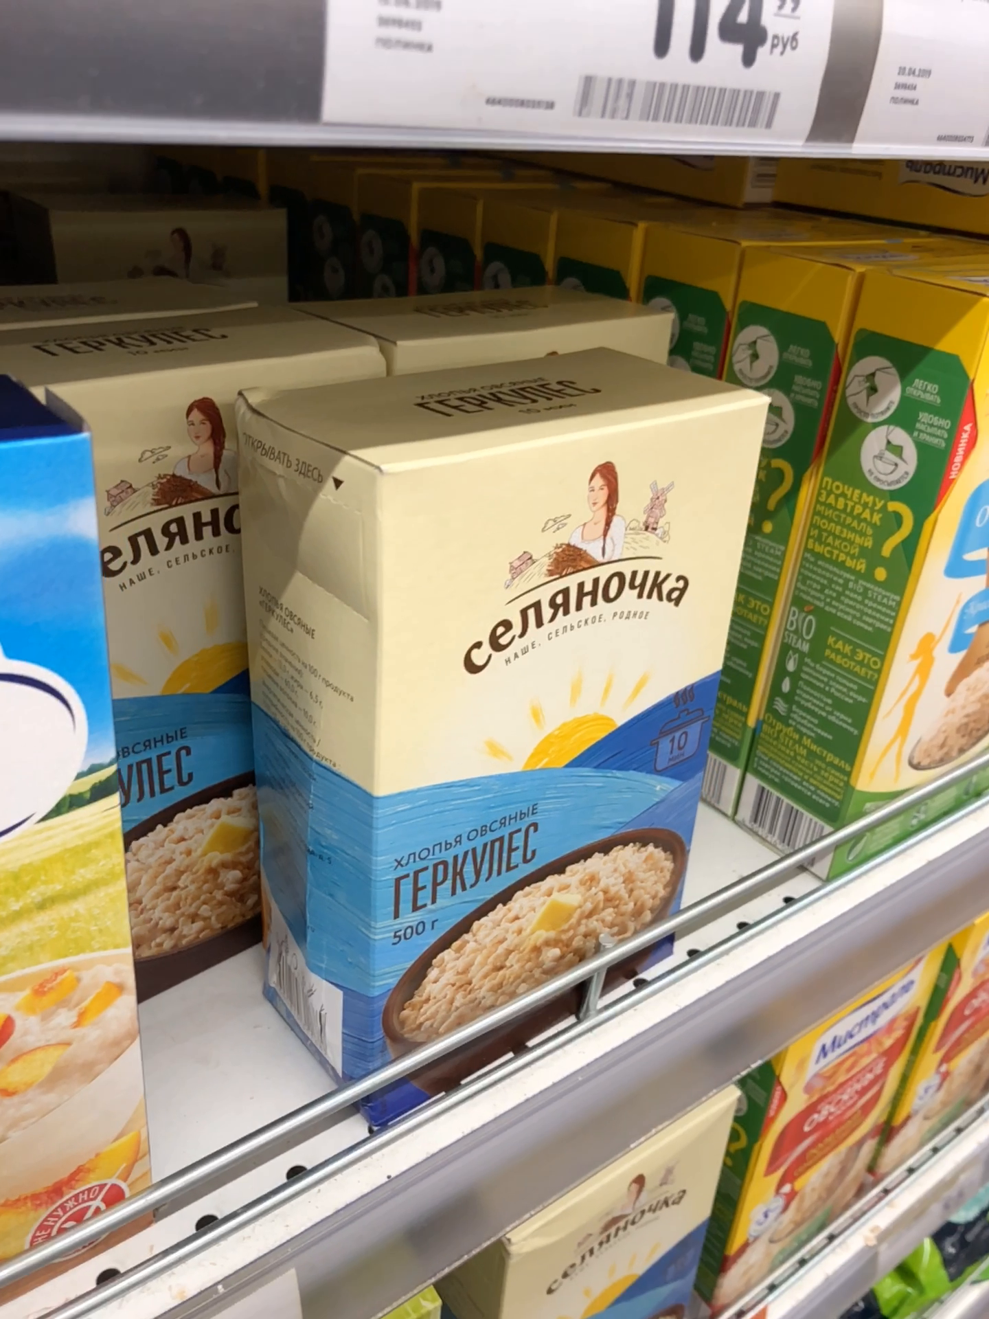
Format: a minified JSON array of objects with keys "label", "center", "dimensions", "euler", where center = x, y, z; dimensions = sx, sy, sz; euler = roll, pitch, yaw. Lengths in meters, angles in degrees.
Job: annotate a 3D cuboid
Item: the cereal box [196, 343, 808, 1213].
[{"label":"cereal box","center":[0.000,0.028,0.297],"dimensions":[0.130,0.199,0.060],"euler":[-17,34,-34]}]
